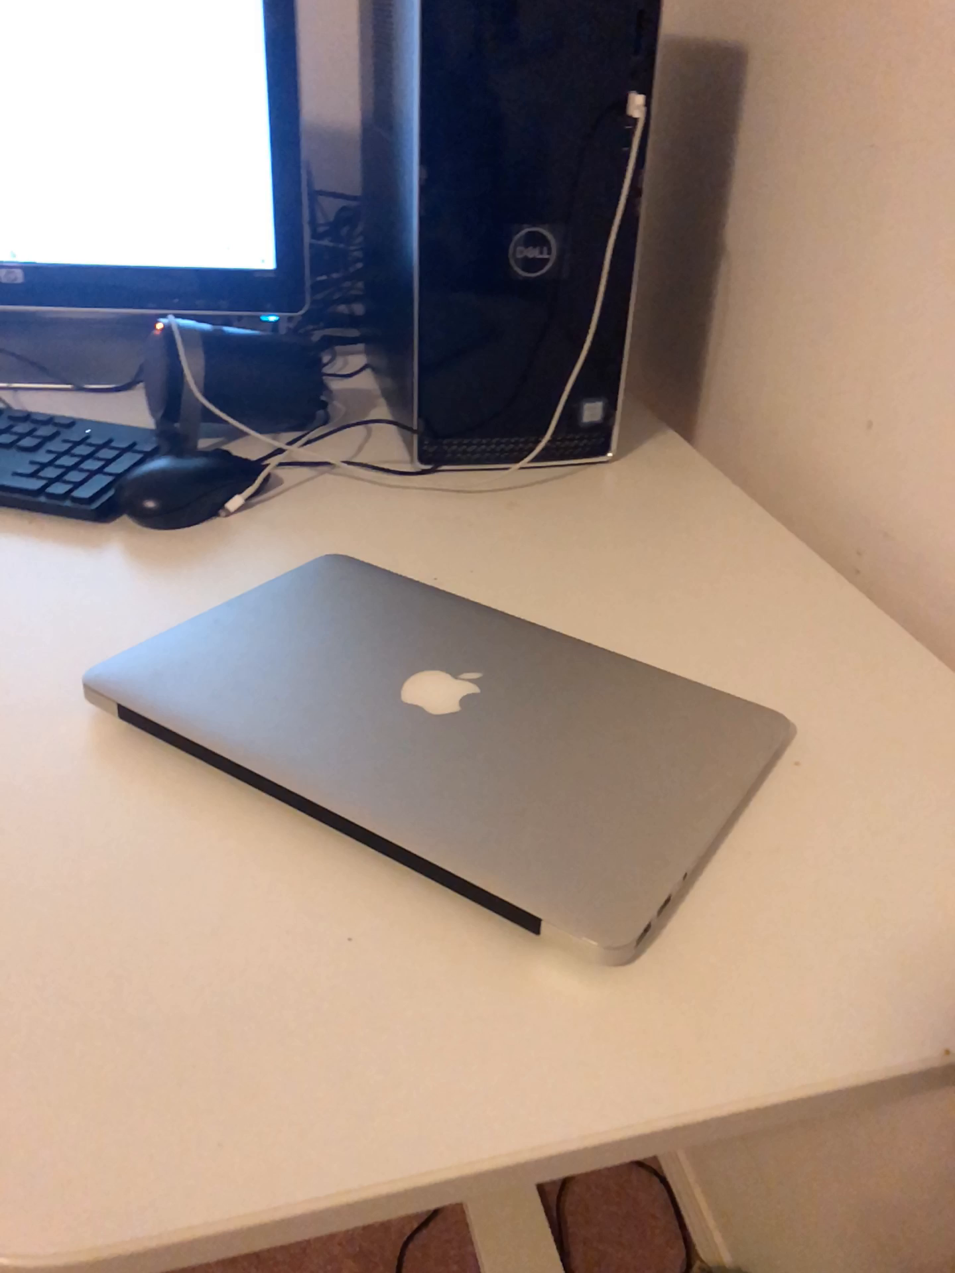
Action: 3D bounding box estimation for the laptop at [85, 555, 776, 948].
[{"bbox_3d":[-0.024,0.032,0.517,0.291,0.004,0.178,21,35,27],"label":"laptop"}]
